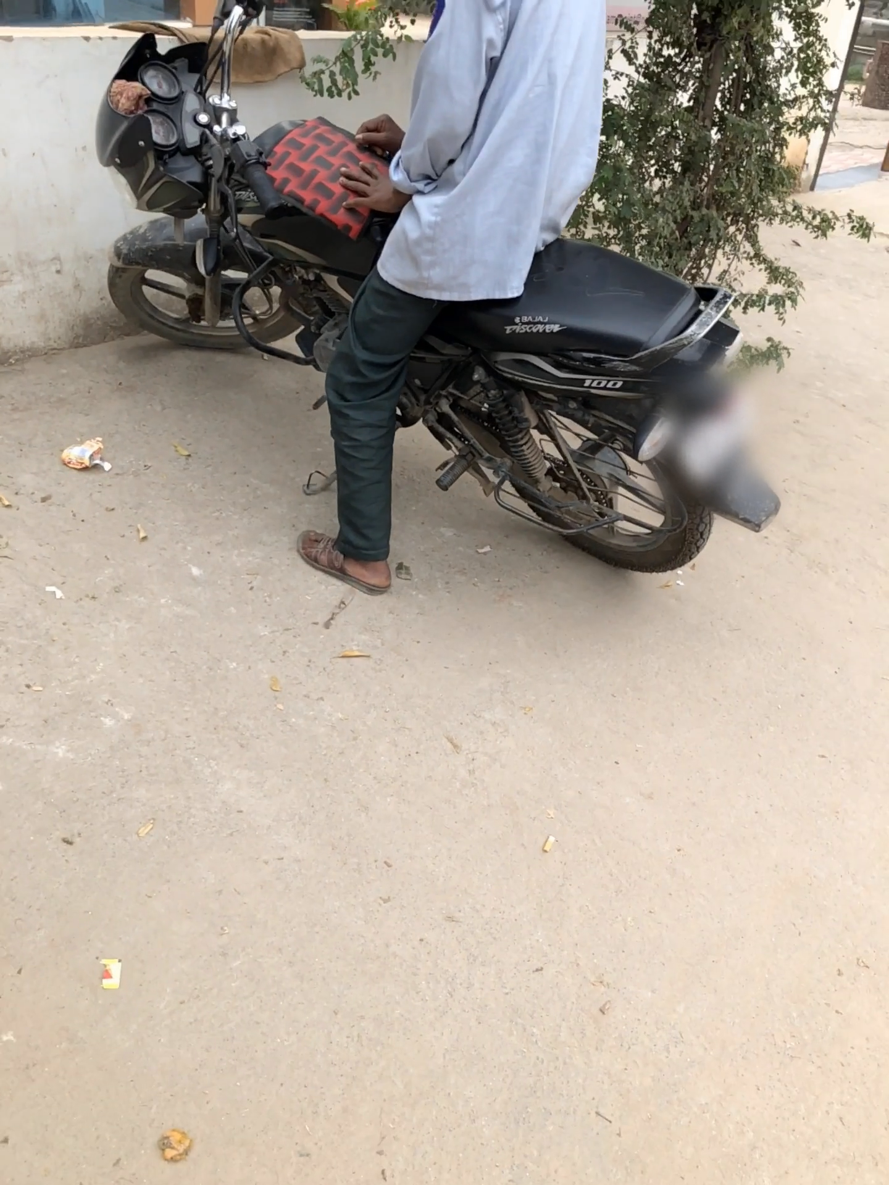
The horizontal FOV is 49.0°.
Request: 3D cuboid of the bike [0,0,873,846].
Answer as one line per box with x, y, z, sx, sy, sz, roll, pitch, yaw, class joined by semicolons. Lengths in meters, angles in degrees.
-0.115;-0.568;2.079;1.498;1.332;0.790;26;38;25;bike
